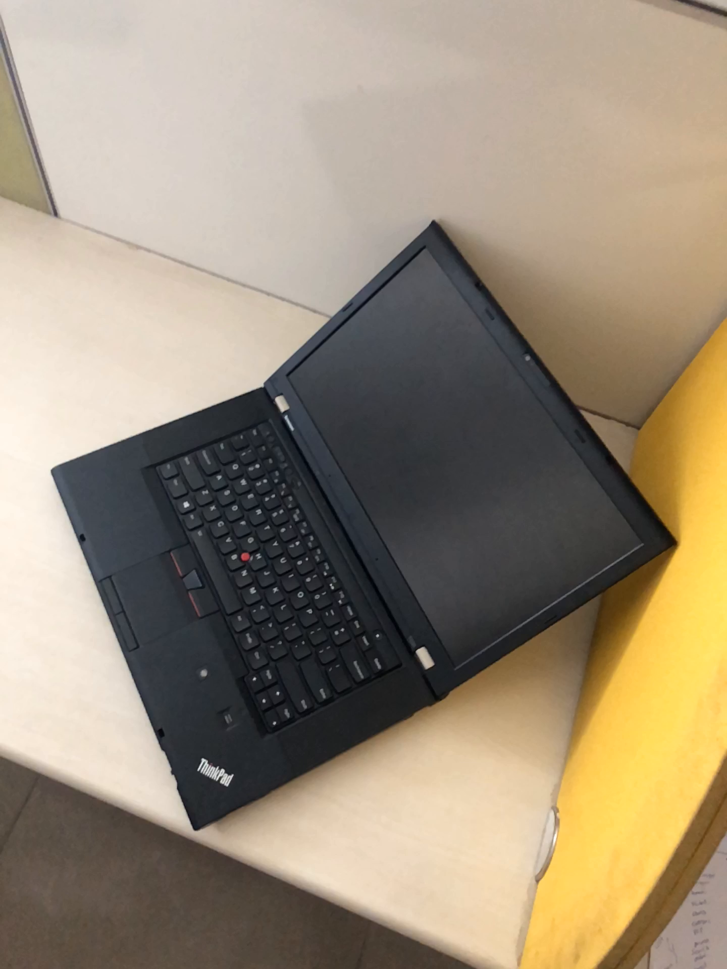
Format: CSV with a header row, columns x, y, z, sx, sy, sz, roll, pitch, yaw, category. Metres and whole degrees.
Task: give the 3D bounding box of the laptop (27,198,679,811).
x,y,z,sx,sy,sz,roll,pitch,yaw,category
-0.020,-0.002,0.702,0.418,0.143,0.354,-25,69,-14,laptop
